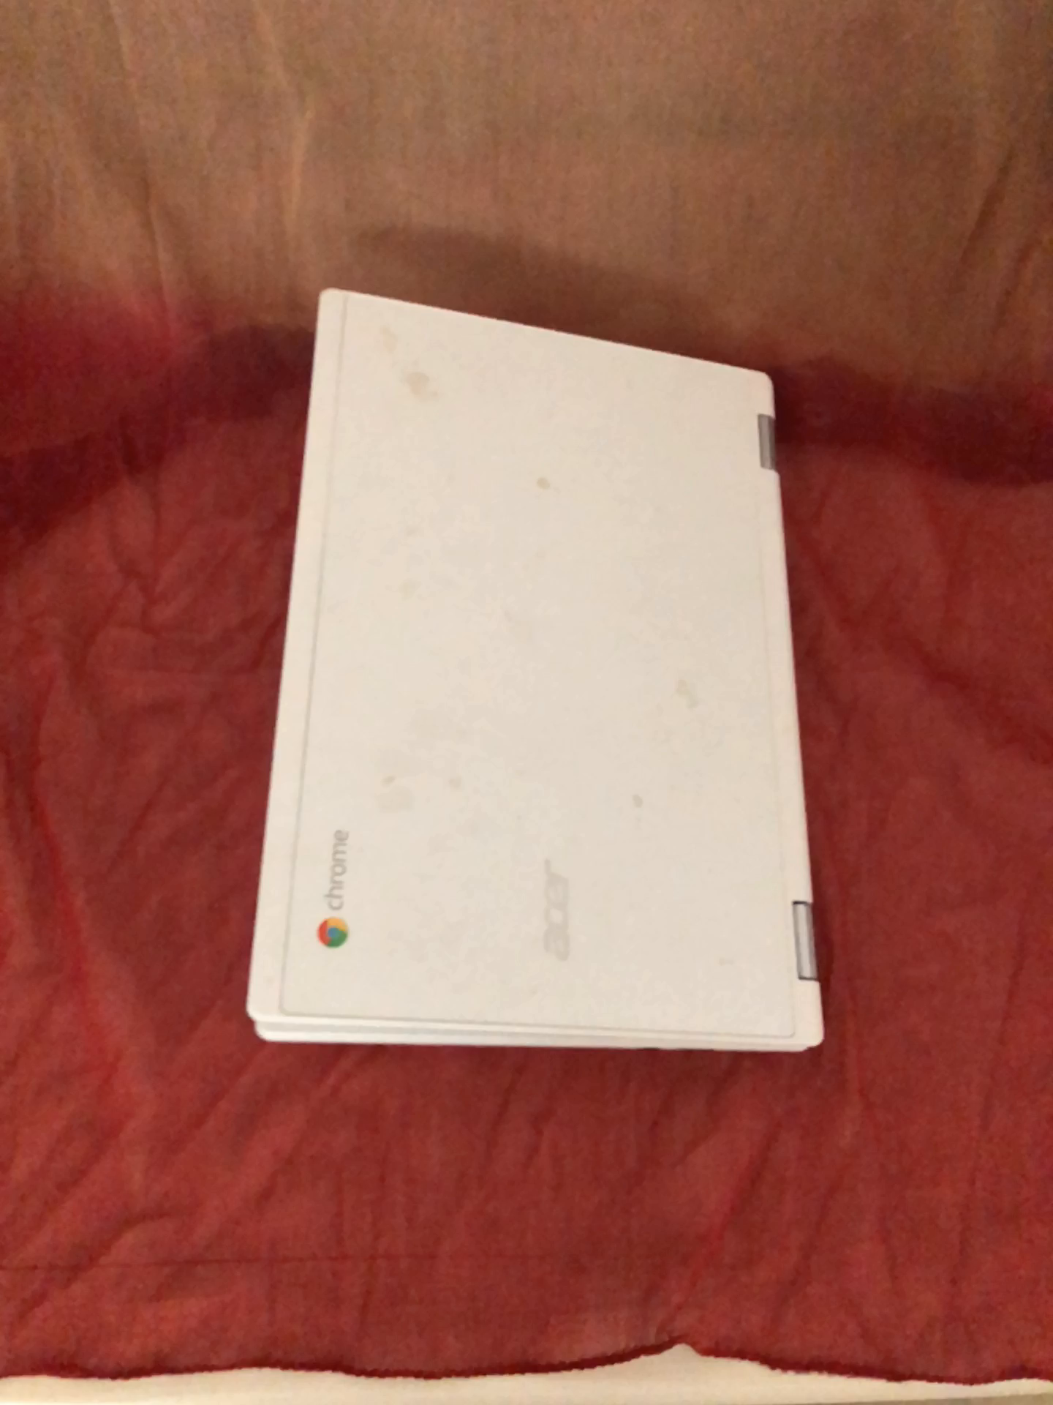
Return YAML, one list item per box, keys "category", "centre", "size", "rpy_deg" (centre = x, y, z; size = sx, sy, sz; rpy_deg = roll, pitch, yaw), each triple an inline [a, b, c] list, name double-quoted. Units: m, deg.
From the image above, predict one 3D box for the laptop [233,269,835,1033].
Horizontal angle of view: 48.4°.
- category: "laptop"
  centre: [0.007, -0.030, 0.451]
  size: [0.189, 0.056, 0.289]
  rpy_deg: [3, 67, -1]
